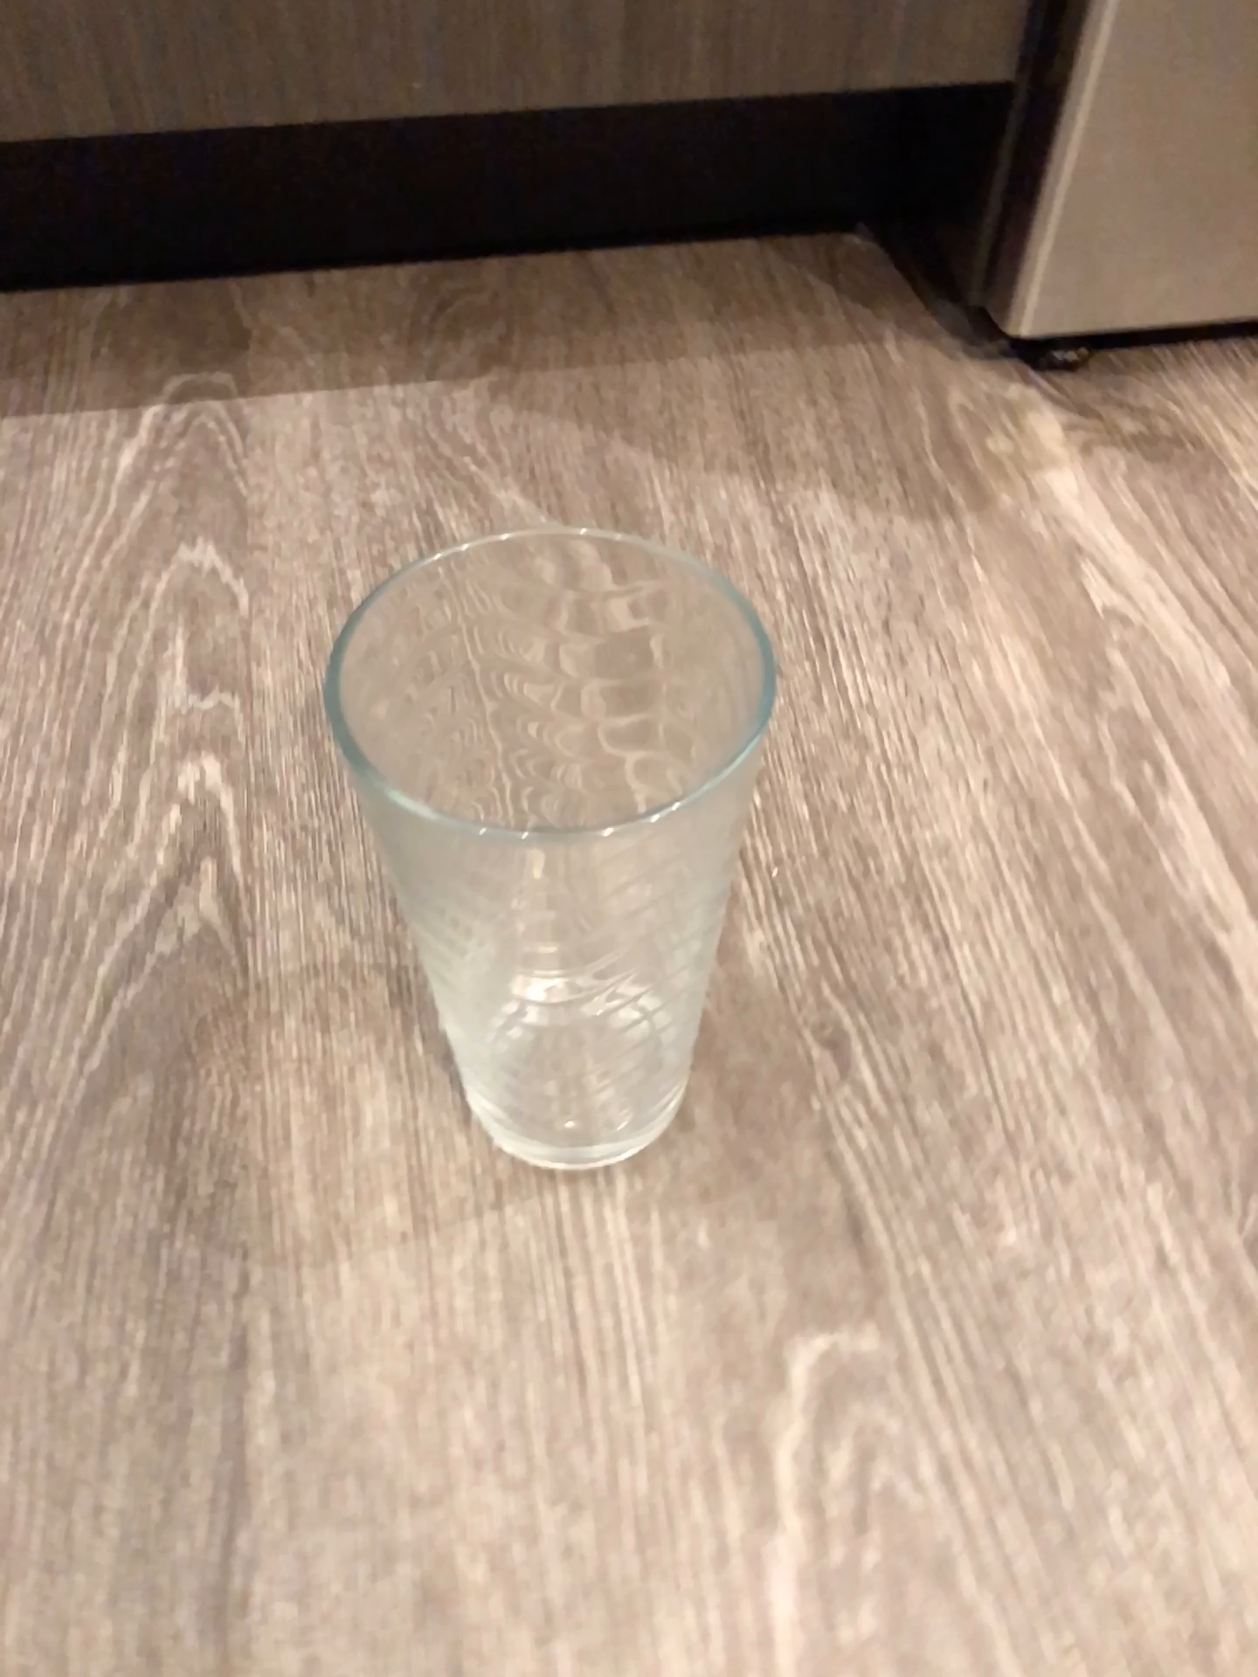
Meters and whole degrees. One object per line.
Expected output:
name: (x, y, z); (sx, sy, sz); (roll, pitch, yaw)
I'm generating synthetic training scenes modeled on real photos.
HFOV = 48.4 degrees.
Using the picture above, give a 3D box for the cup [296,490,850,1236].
cup: (-0.016, 0.011, 0.317); (0.090, 0.139, 0.090); (1, 51, -1)
